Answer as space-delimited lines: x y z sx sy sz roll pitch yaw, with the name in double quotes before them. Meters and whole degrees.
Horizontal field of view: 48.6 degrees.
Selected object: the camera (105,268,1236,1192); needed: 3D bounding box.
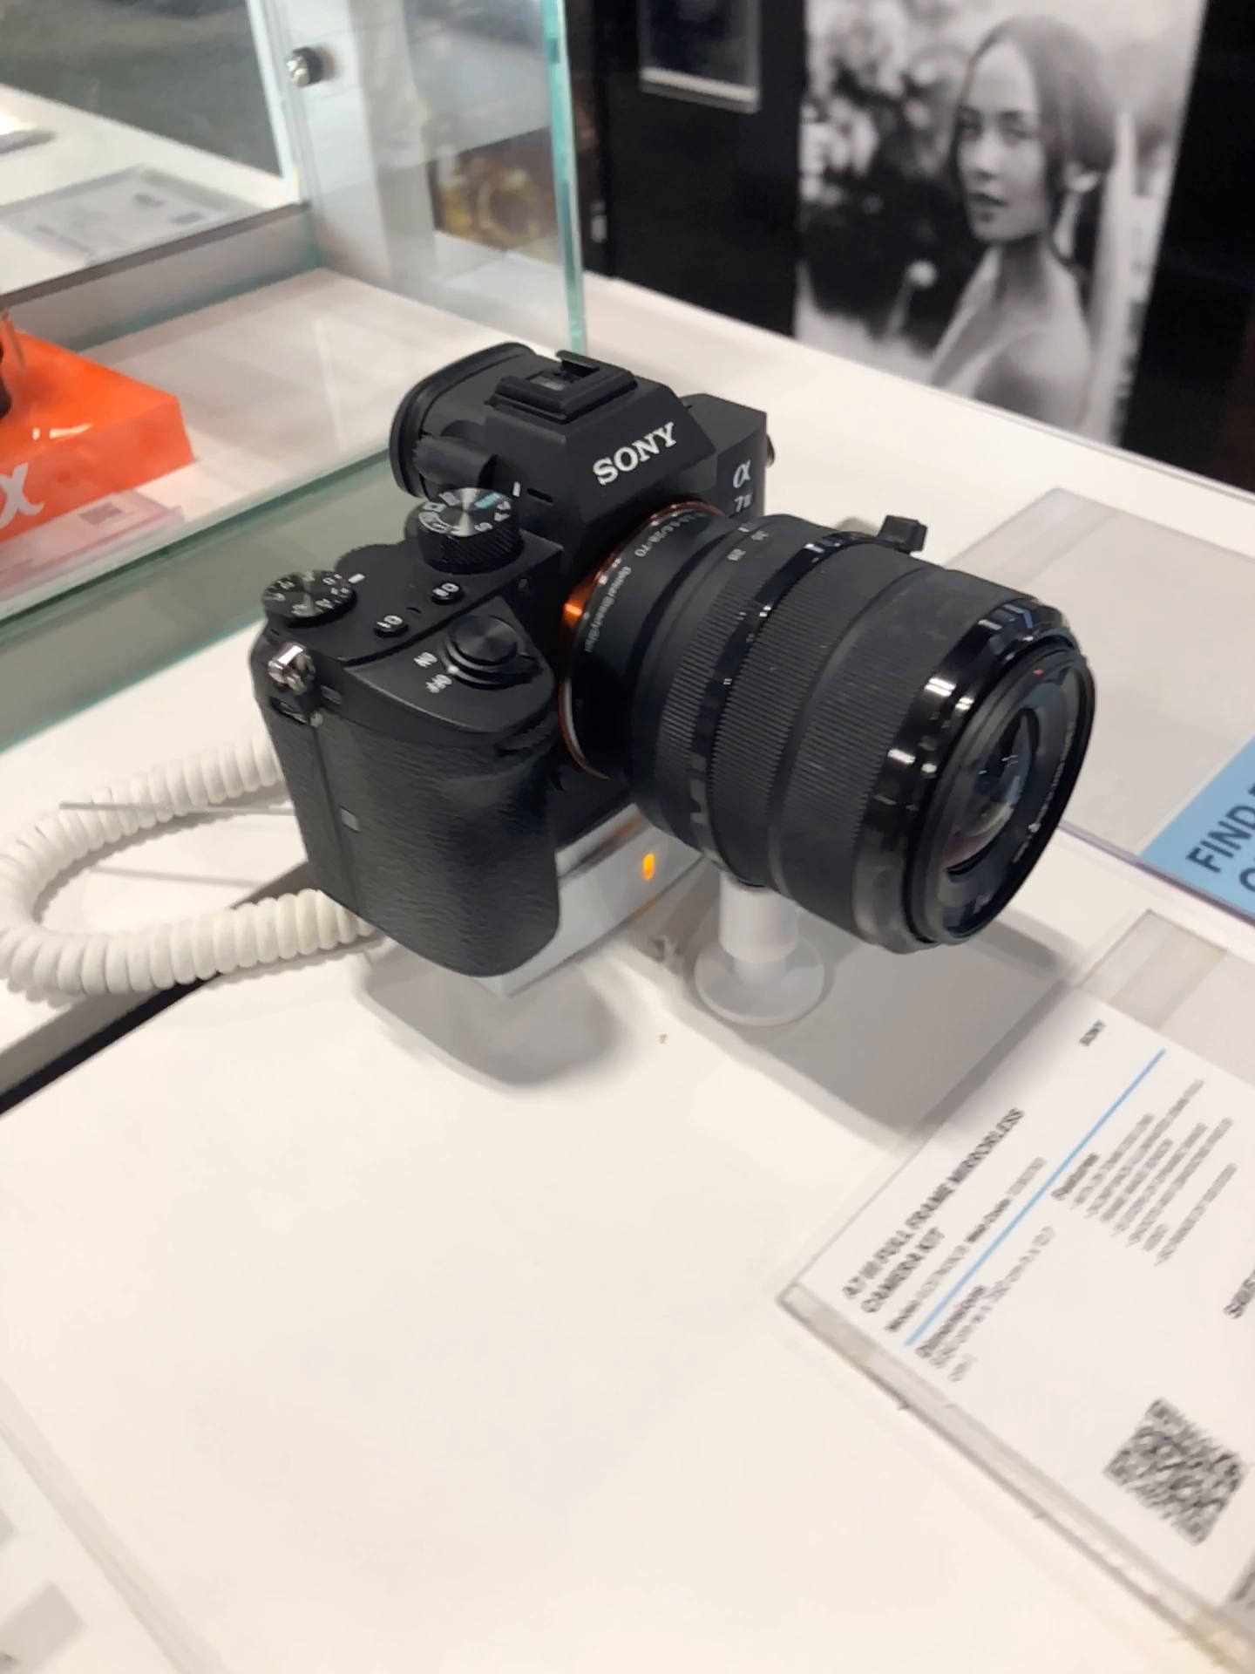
"camera" 0.008 -0.040 0.288 0.161 0.079 0.140 29 51 32
